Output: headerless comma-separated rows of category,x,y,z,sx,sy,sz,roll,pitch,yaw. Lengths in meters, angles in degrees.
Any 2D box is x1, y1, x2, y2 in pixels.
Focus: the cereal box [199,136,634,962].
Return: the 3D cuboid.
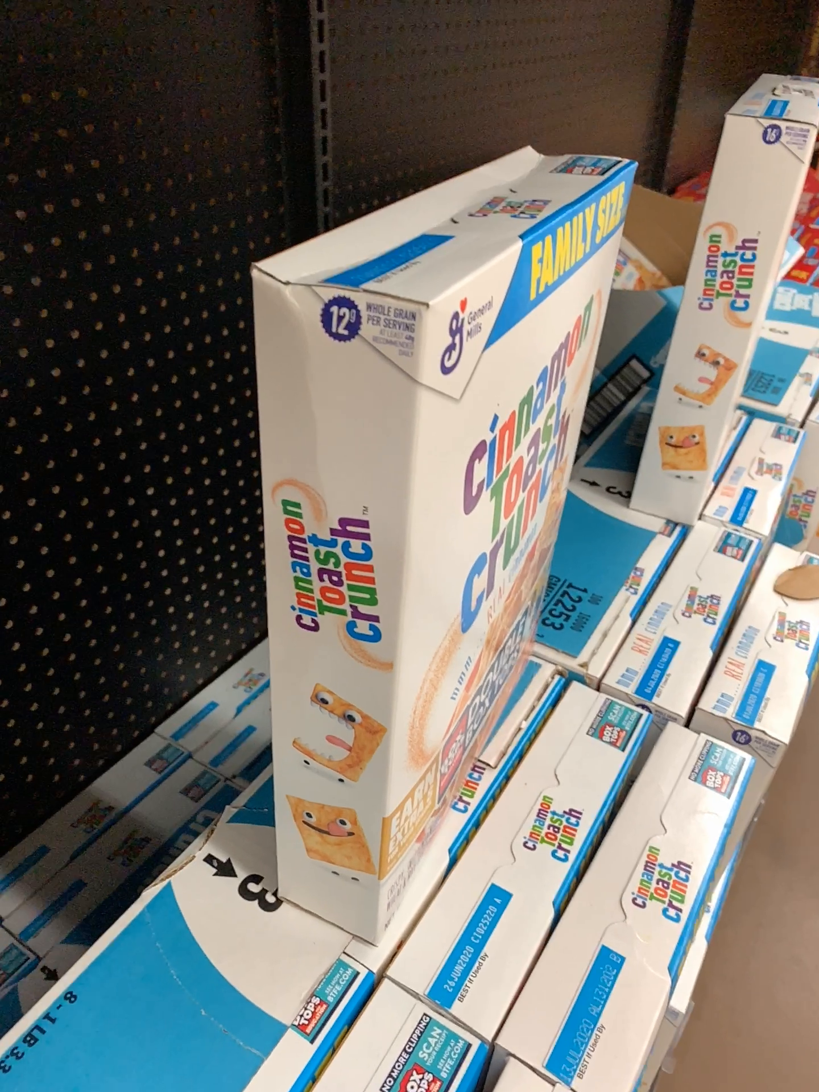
cereal box,0.017,-0.006,0.391,0.060,0.298,0.241,17,37,20
